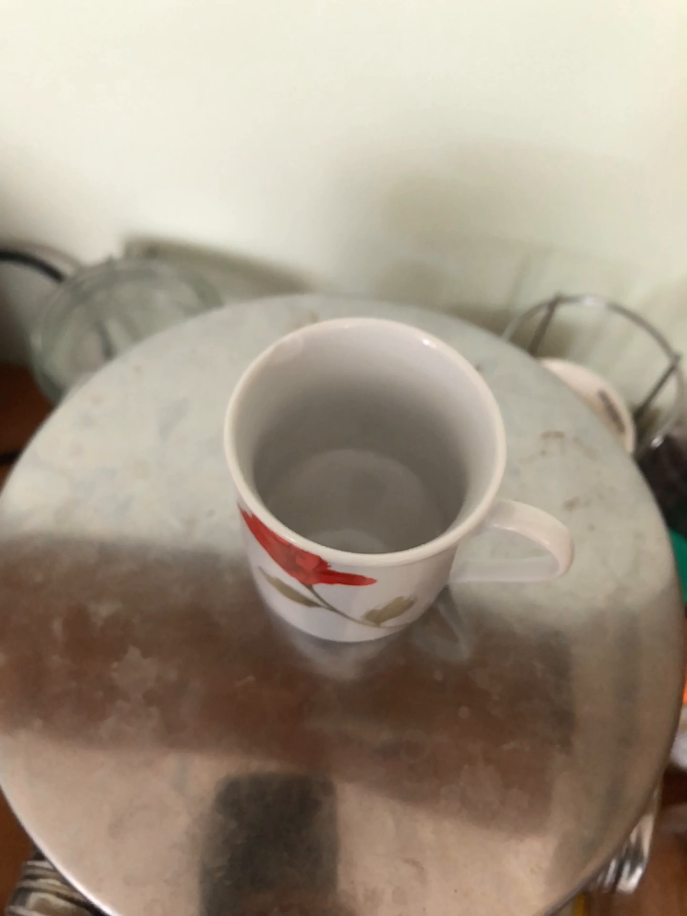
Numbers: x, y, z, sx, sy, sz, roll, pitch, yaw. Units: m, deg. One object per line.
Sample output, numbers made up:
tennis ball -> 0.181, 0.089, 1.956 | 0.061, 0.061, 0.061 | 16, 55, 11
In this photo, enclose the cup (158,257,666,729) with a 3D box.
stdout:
cup -> 0.014, 0.010, 0.170 | 0.080, 0.060, 0.060 | 19, 62, 6
